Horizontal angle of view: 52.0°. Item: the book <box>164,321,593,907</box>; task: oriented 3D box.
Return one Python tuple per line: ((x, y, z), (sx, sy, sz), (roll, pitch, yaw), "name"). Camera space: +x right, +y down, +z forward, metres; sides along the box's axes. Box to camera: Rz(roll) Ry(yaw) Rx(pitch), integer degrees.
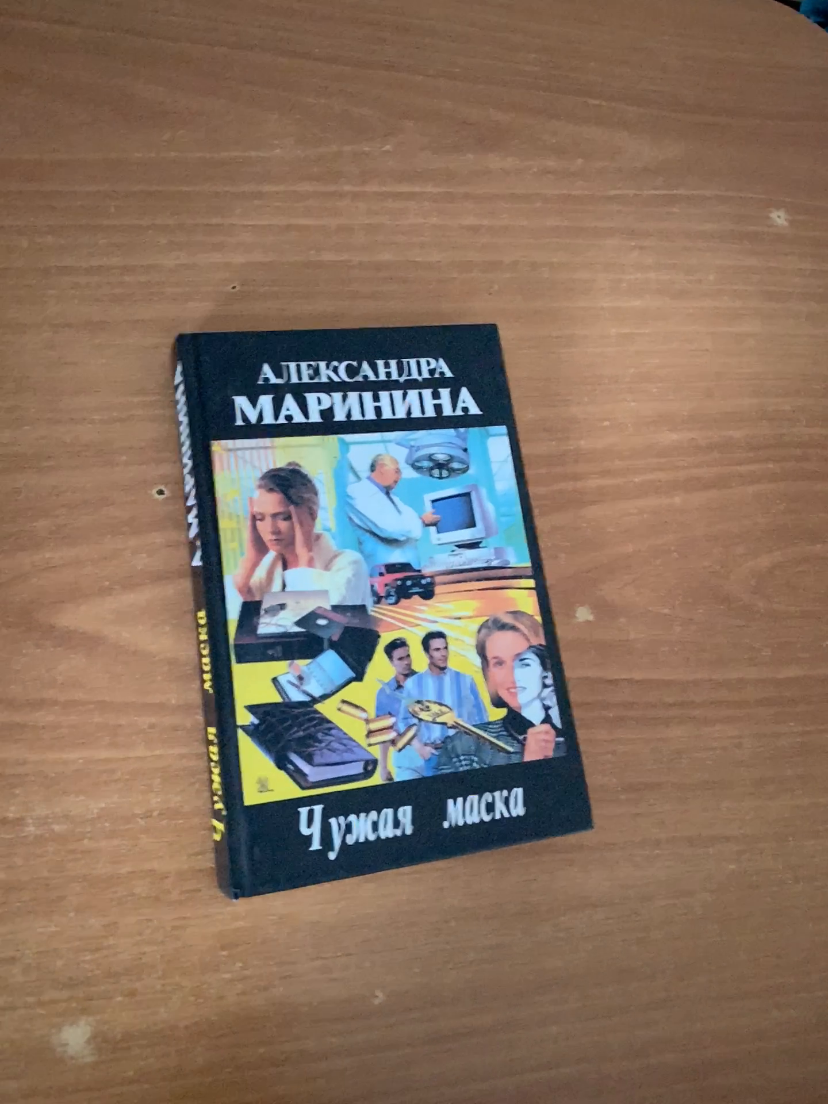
((-0.018, 0.013, 0.319), (0.130, 0.030, 0.200), (-5, 76, -14), "book")
